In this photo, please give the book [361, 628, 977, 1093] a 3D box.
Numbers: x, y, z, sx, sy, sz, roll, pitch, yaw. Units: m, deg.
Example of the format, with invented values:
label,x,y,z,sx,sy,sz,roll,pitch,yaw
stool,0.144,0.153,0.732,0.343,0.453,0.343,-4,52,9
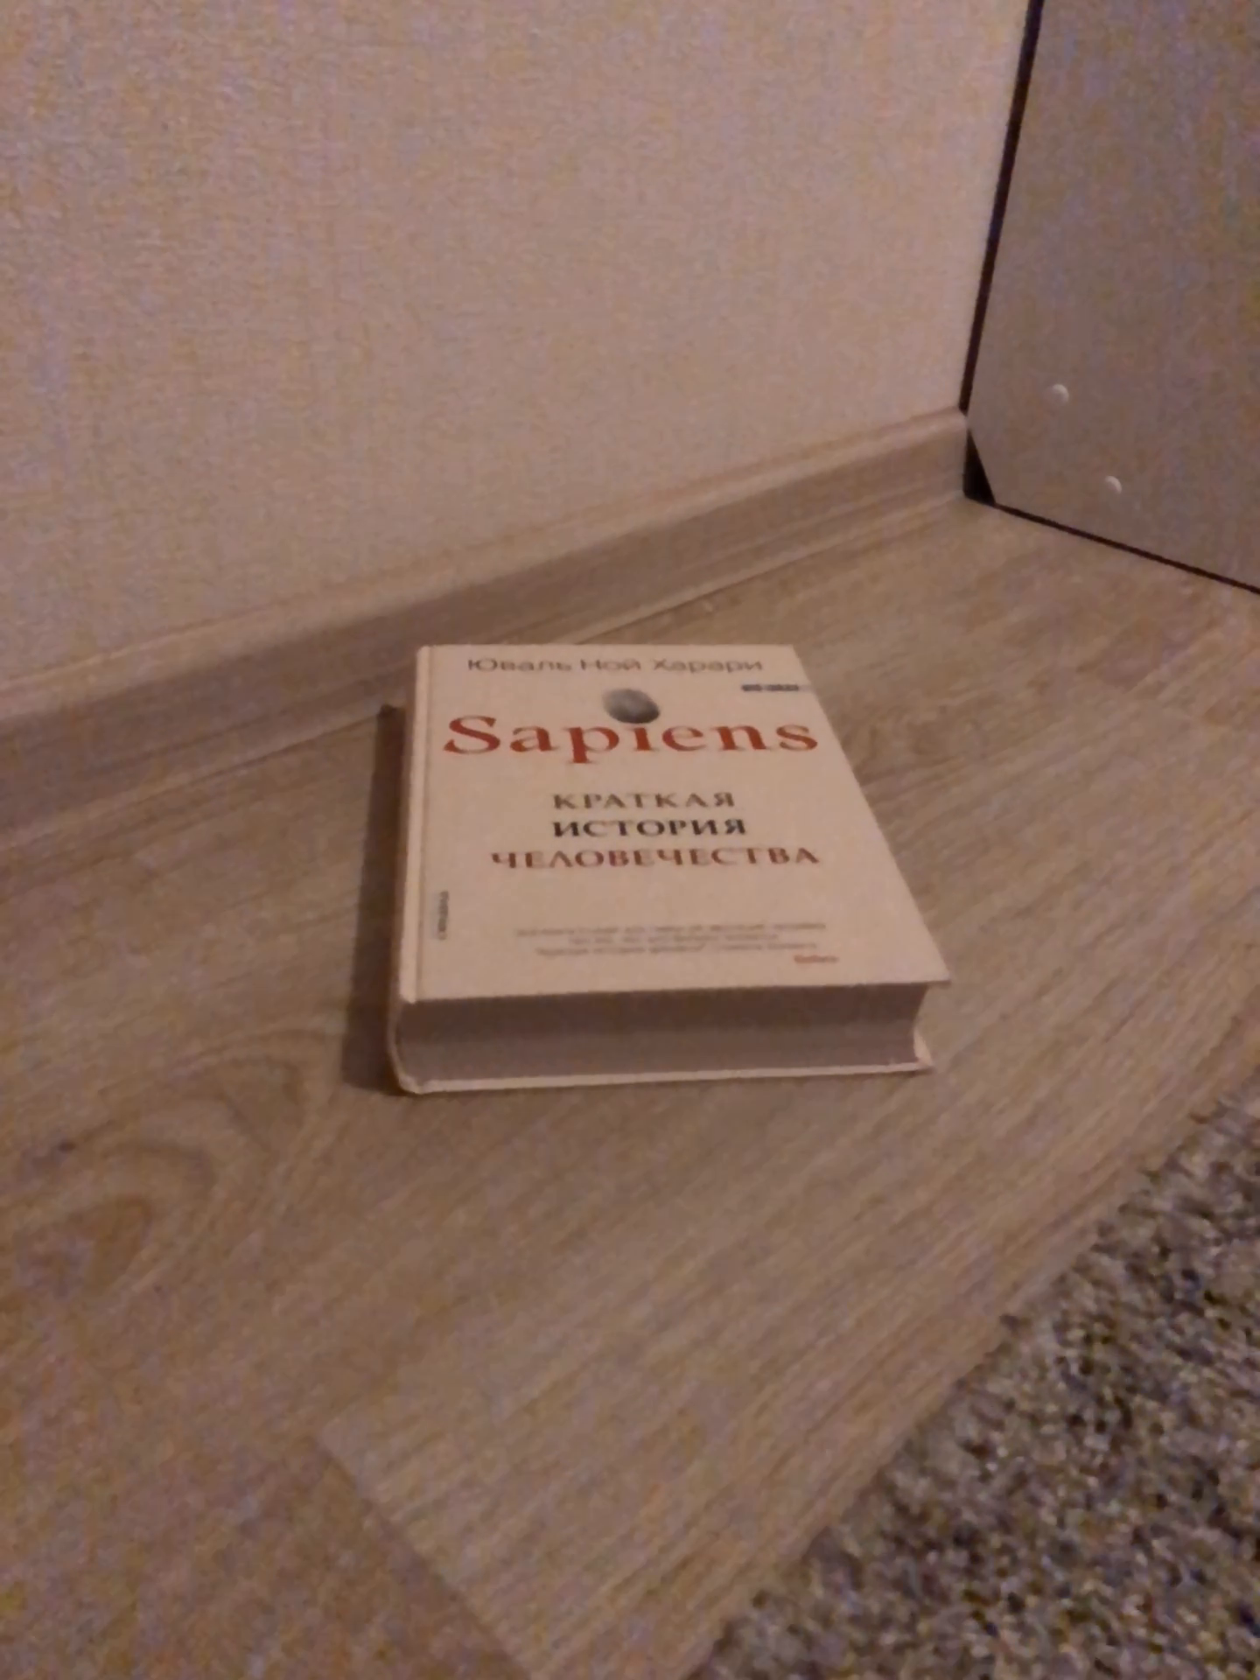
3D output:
label,x,y,z,sx,sy,sz,roll,pitch,yaw
book,-0.001,-0.011,0.529,0.187,0.040,0.259,-1,33,-7
